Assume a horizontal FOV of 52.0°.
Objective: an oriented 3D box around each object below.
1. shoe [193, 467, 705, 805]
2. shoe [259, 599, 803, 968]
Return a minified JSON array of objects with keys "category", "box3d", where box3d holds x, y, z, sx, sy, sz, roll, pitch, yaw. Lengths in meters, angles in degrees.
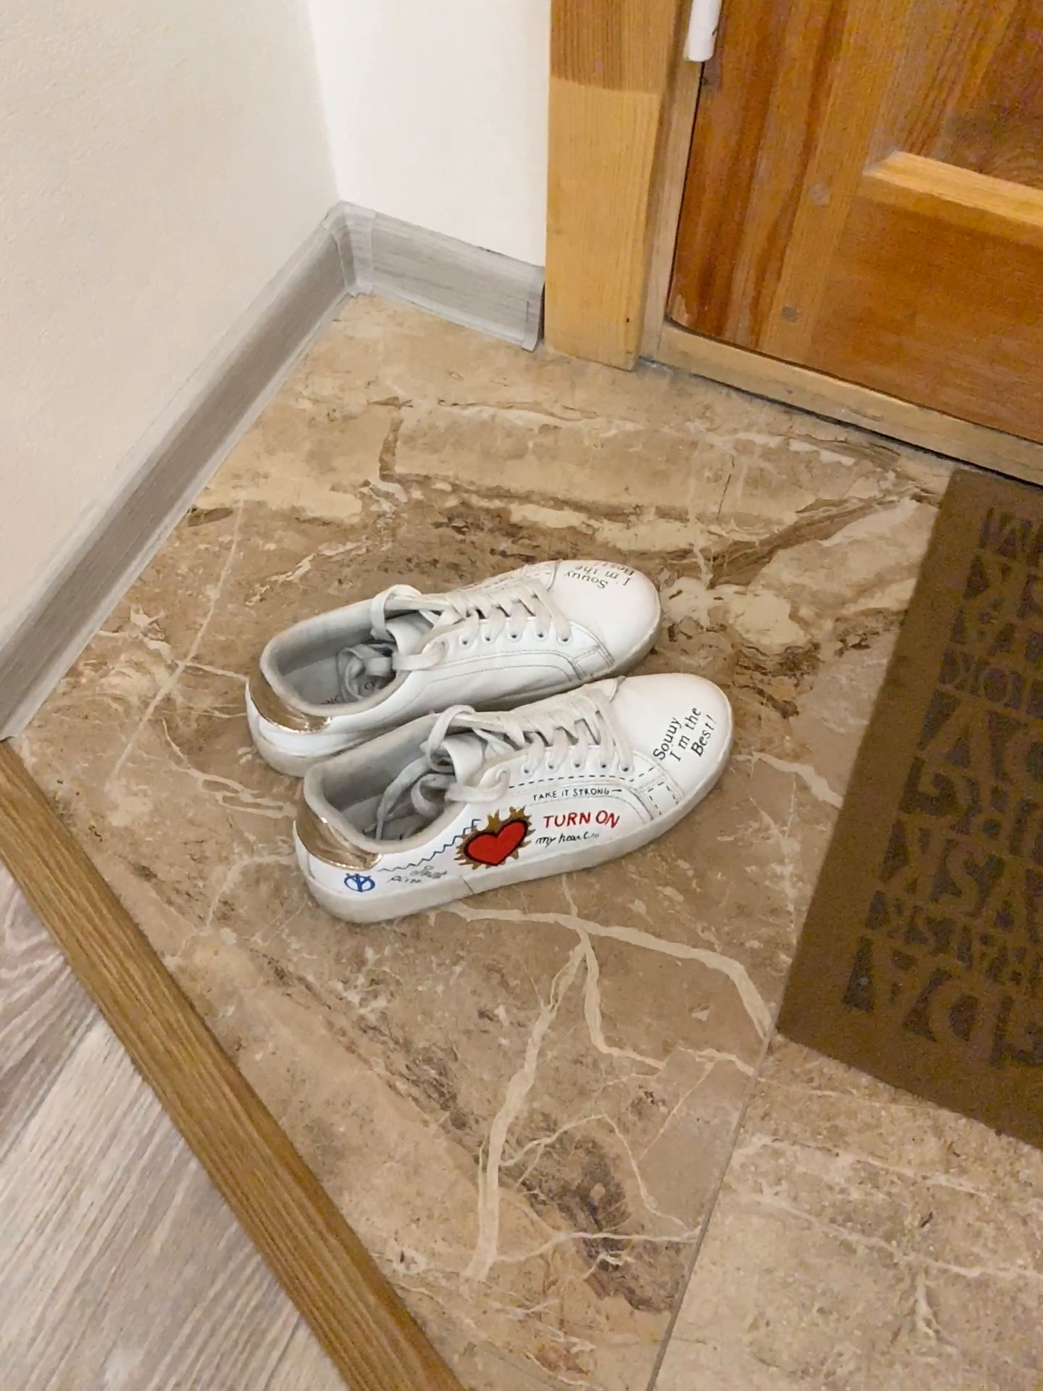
[{"category":"shoe","box3d":[-0.038,-0.035,0.604,0.256,0.080,0.093,-18,62,-10]},{"category":"shoe","box3d":[0.005,0.045,0.570,0.256,0.080,0.093,-19,62,-10]}]
